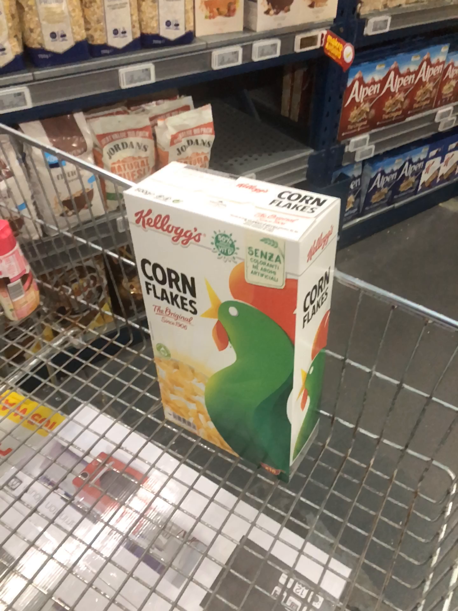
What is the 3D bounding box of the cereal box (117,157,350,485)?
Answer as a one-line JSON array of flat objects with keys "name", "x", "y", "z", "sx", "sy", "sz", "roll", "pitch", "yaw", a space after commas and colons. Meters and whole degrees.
[{"name": "cereal box", "x": 0.009, "y": 0.027, "z": 0.558, "sx": 0.190, "sy": 0.329, "sz": 0.090, "roll": 20, "pitch": 44, "yaw": 26}]
